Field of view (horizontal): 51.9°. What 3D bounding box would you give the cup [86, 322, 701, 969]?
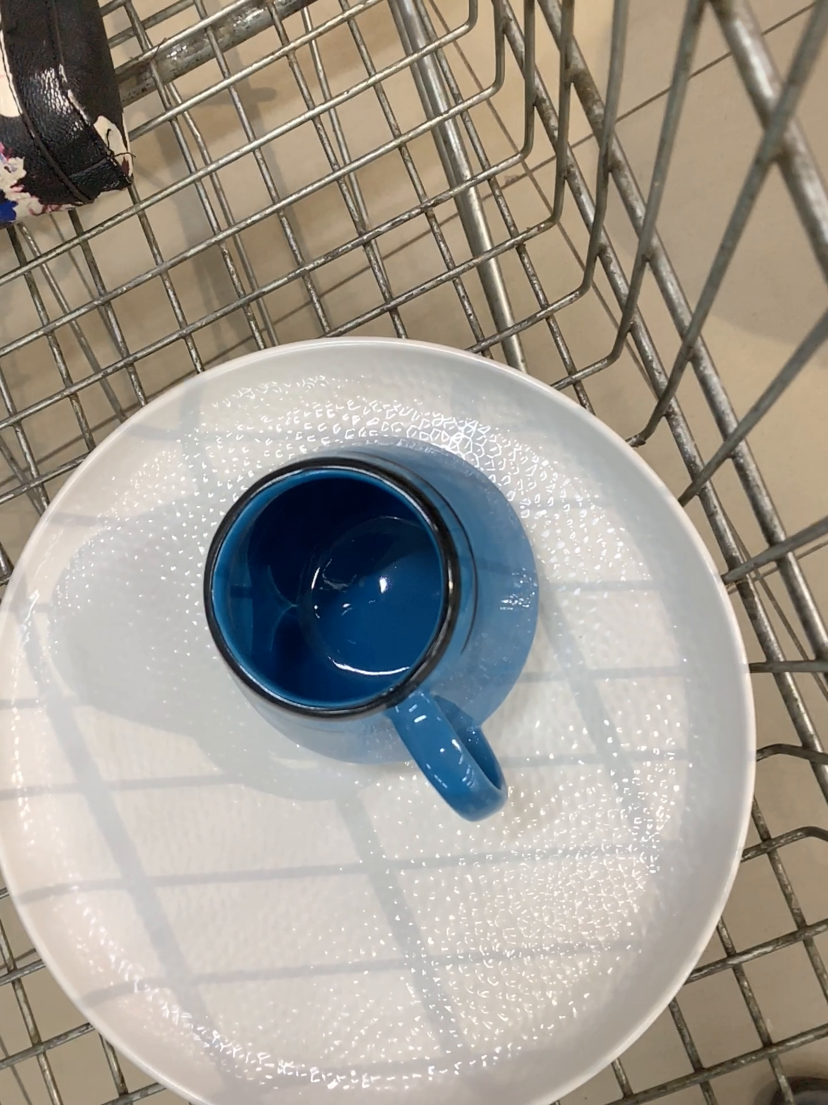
[{"bbox_3d":[-0.003,0.024,0.261,0.100,0.090,0.130,-38,84,6],"label":"cup"}]
